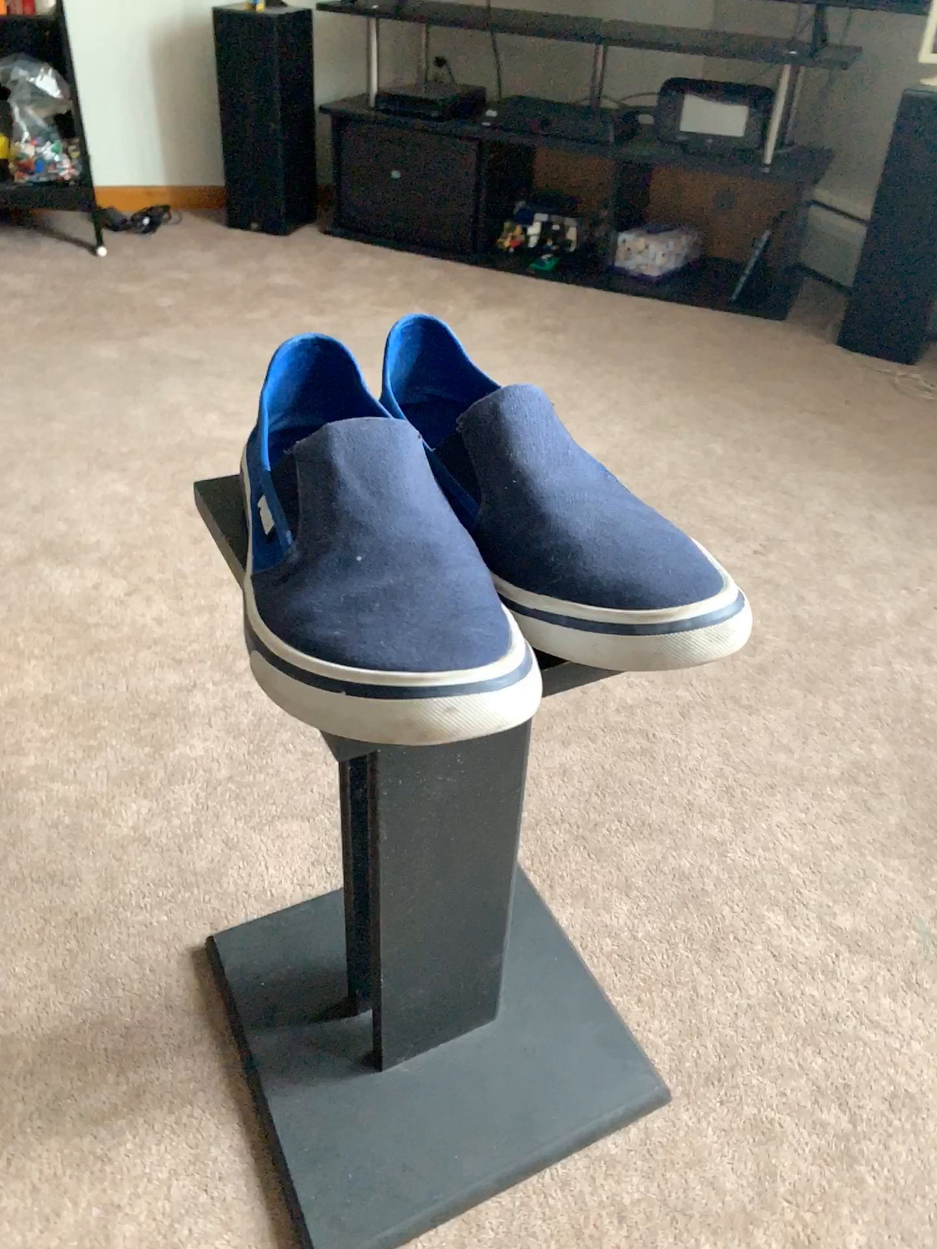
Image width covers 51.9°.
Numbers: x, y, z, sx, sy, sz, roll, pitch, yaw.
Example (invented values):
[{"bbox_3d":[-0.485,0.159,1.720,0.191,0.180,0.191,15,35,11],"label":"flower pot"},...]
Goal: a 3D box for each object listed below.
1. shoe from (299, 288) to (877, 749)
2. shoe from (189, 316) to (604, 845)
[{"bbox_3d":[0.032,-0.079,0.482,0.120,0.079,0.302,-17,40,-26],"label":"shoe"},{"bbox_3d":[-0.055,-0.050,0.440,0.120,0.079,0.302,-7,37,-14],"label":"shoe"}]
